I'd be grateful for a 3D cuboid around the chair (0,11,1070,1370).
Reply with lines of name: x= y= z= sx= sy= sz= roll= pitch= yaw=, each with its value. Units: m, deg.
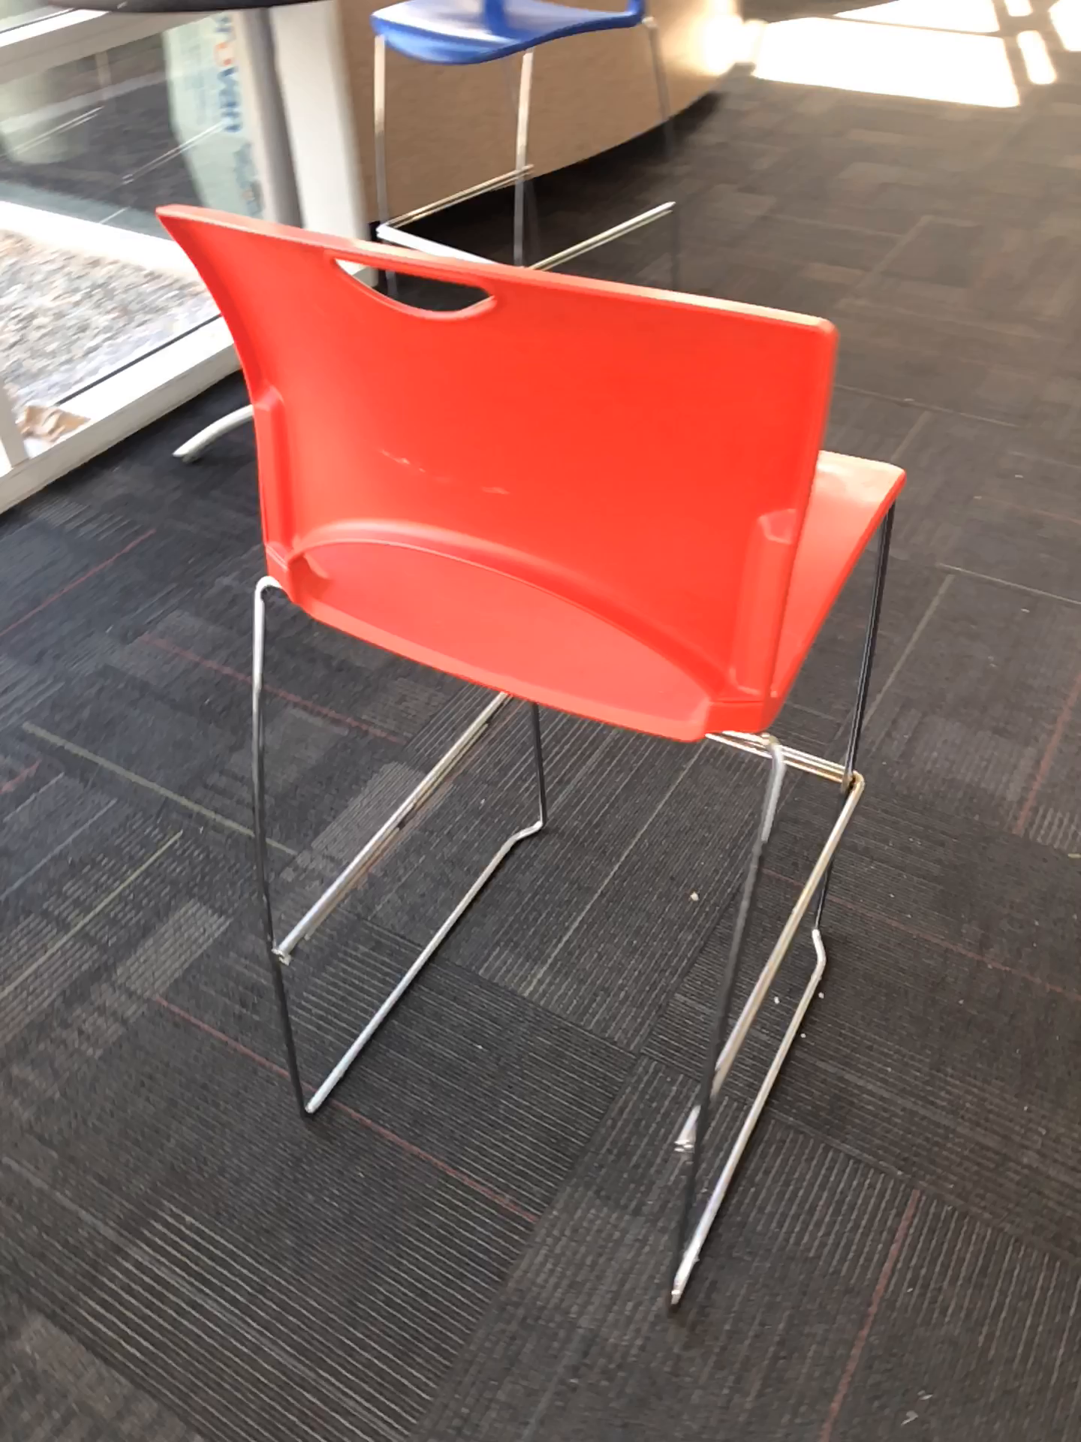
chair: x=0.022 y=-0.029 z=1.148 sx=0.591 sy=0.995 sz=0.662 roll=17 pitch=45 yaw=21
